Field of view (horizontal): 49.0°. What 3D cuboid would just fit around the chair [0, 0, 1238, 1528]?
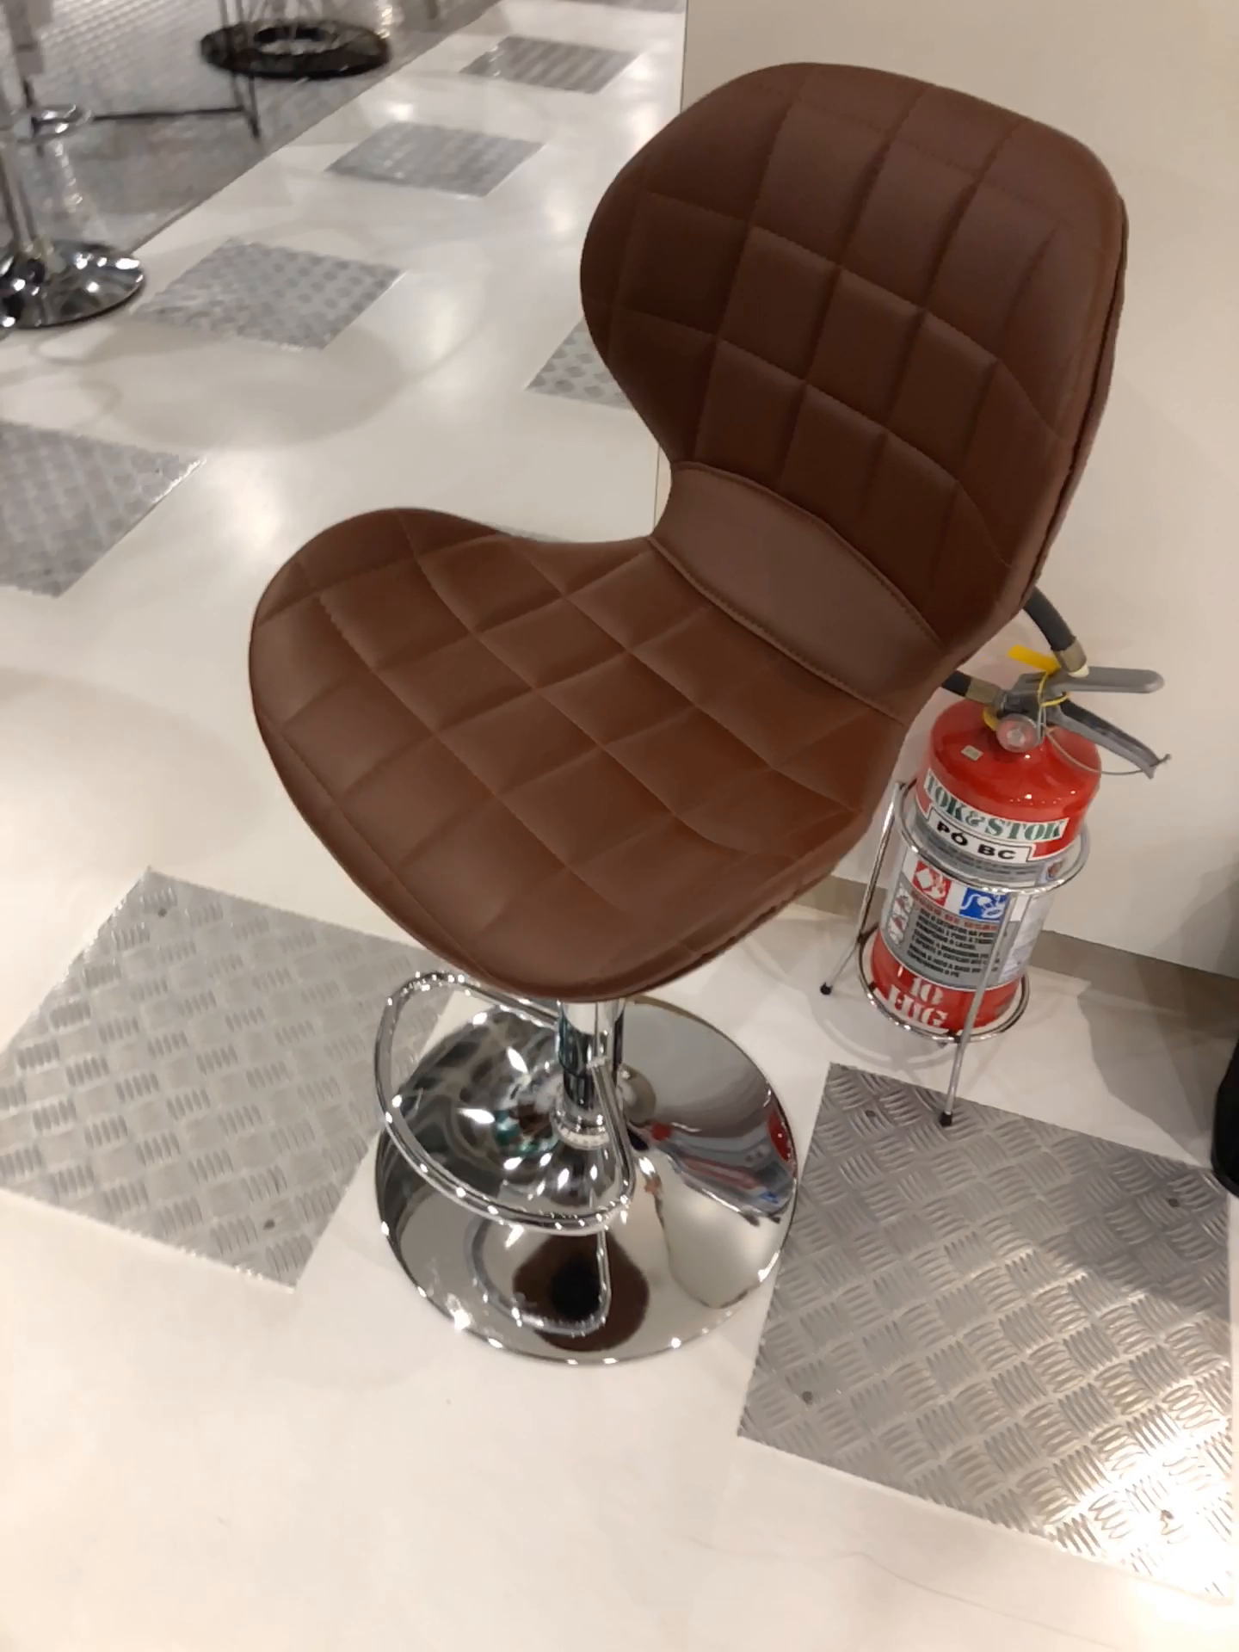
[{"bbox_3d":[-0.022,-0.023,1.020,0.491,0.923,0.543,-22,50,-24],"label":"chair"}]
